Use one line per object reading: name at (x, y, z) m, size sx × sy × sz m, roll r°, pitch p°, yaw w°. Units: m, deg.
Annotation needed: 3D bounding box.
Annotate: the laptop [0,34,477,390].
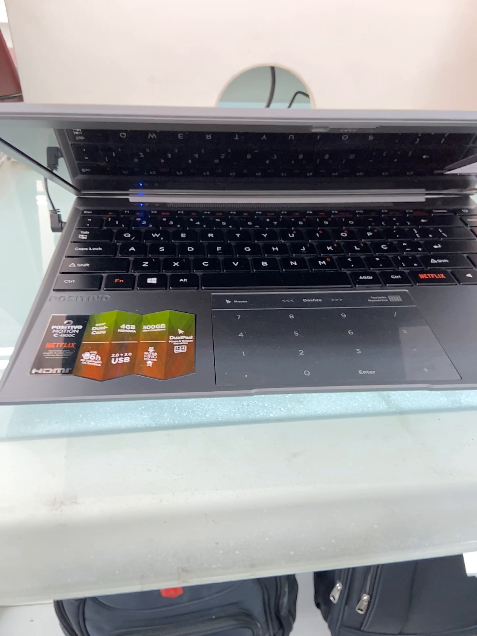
laptop at (0.049, -0.079, 0.292) m, size 0.333 × 0.113 × 0.212 m, roll -1°, pitch 38°, yaw -5°
